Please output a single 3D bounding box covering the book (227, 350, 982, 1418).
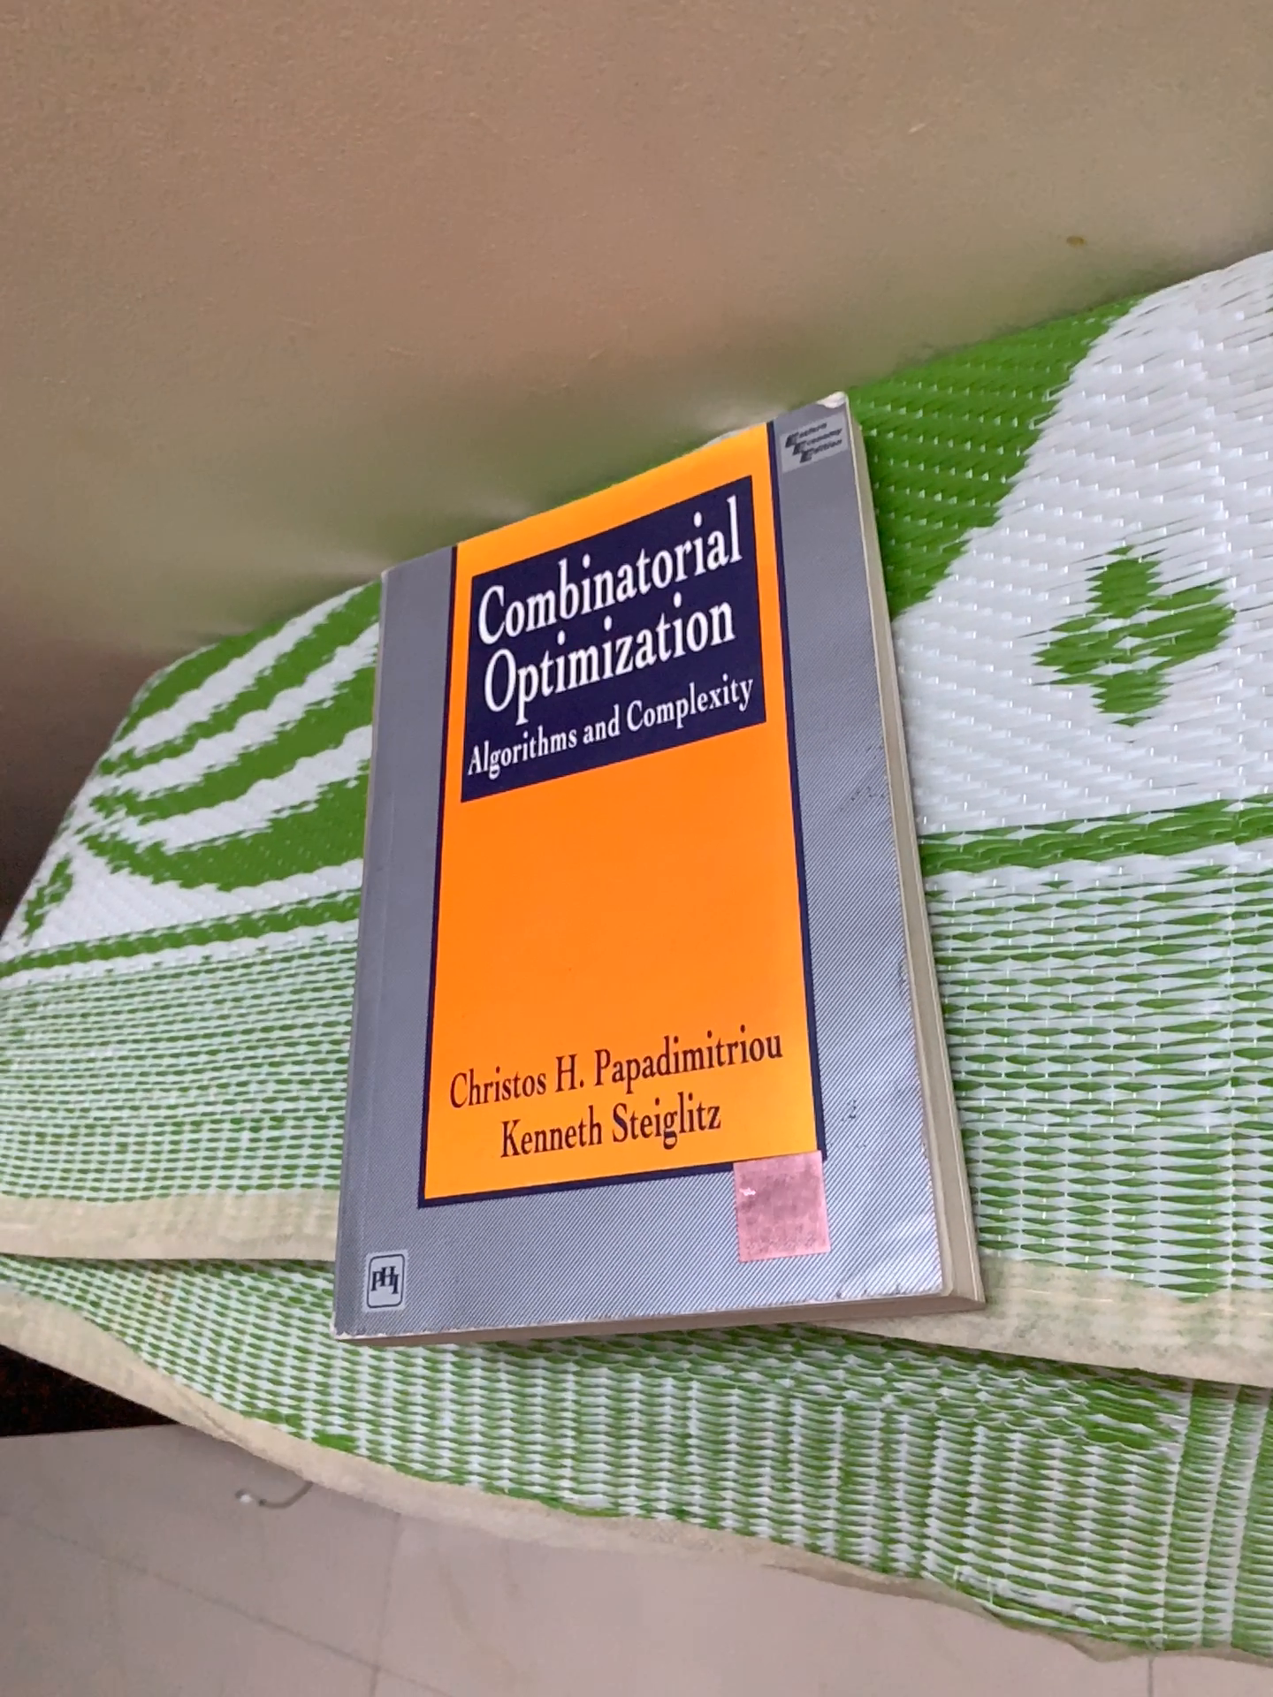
[{"bbox_3d":[-0.013,0.003,0.361,0.170,0.040,0.271,-14,58,24],"label":"book"}]
